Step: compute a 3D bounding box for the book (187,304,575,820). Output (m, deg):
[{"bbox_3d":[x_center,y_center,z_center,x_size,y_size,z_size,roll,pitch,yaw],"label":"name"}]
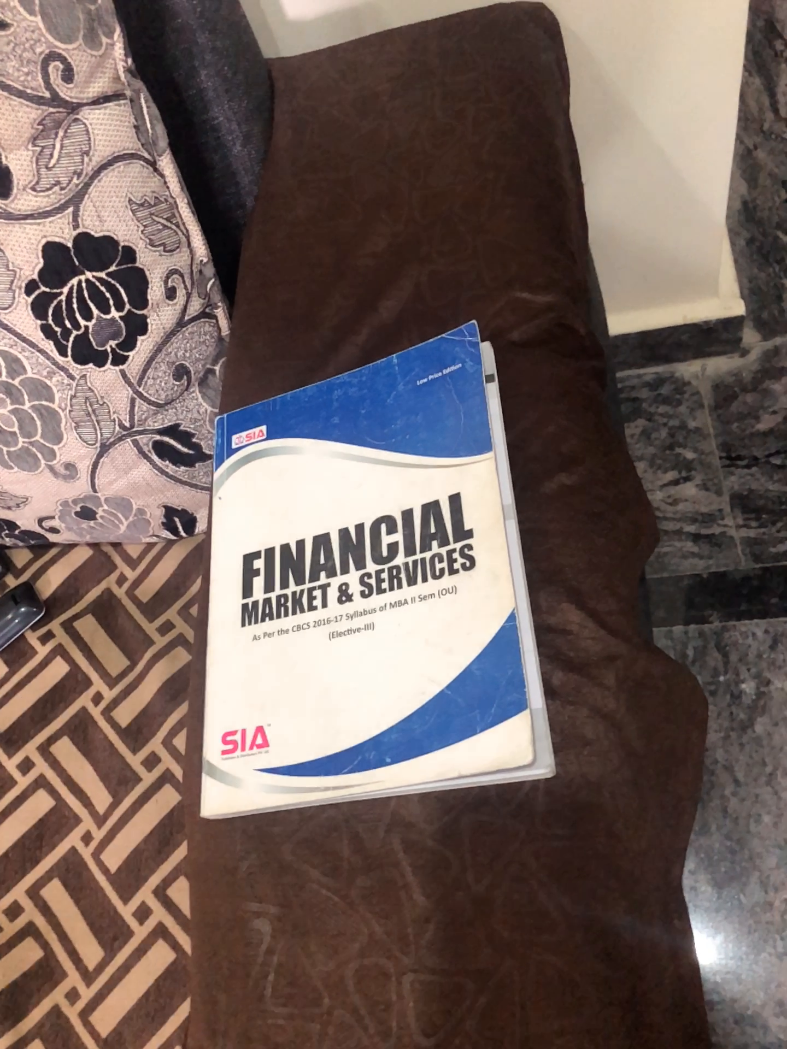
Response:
[{"bbox_3d":[-0.021,0.020,0.548,0.220,0.040,0.290,-15,61,20],"label":"book"}]
